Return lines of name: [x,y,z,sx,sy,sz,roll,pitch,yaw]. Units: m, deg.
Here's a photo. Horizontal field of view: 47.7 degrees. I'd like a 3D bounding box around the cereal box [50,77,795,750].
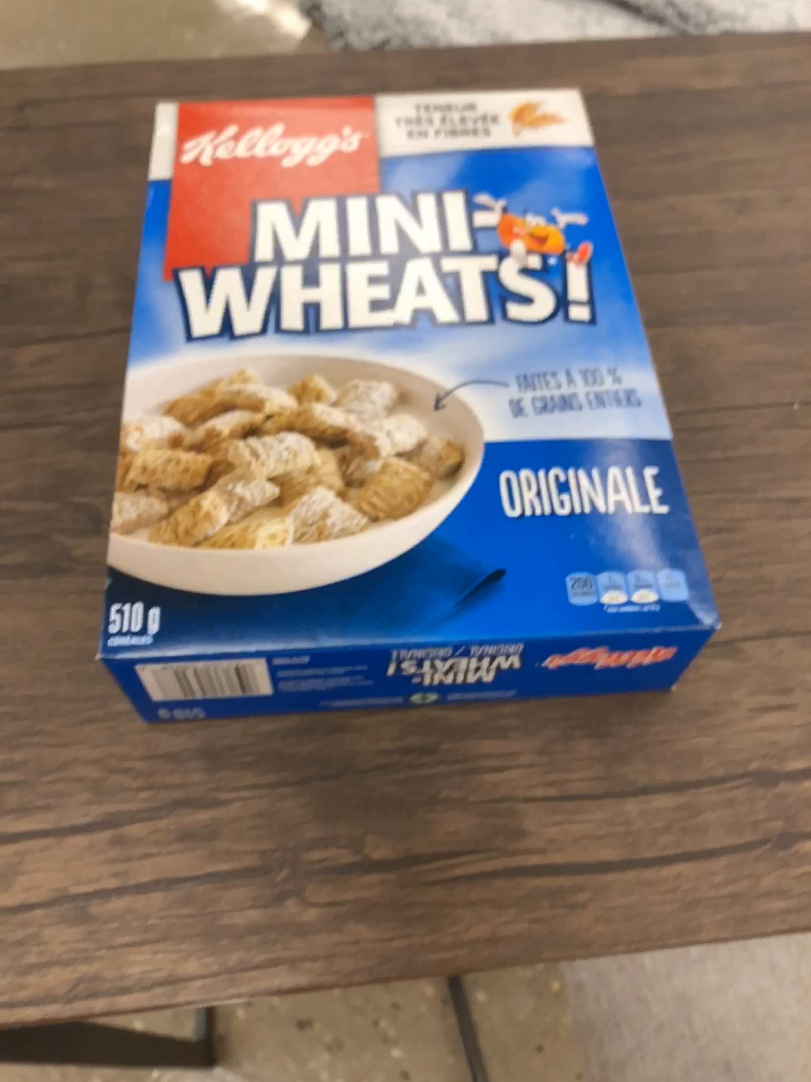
cereal box: [-0.004,-0.068,0.354,0.210,0.060,0.270,-3,59,-3]
